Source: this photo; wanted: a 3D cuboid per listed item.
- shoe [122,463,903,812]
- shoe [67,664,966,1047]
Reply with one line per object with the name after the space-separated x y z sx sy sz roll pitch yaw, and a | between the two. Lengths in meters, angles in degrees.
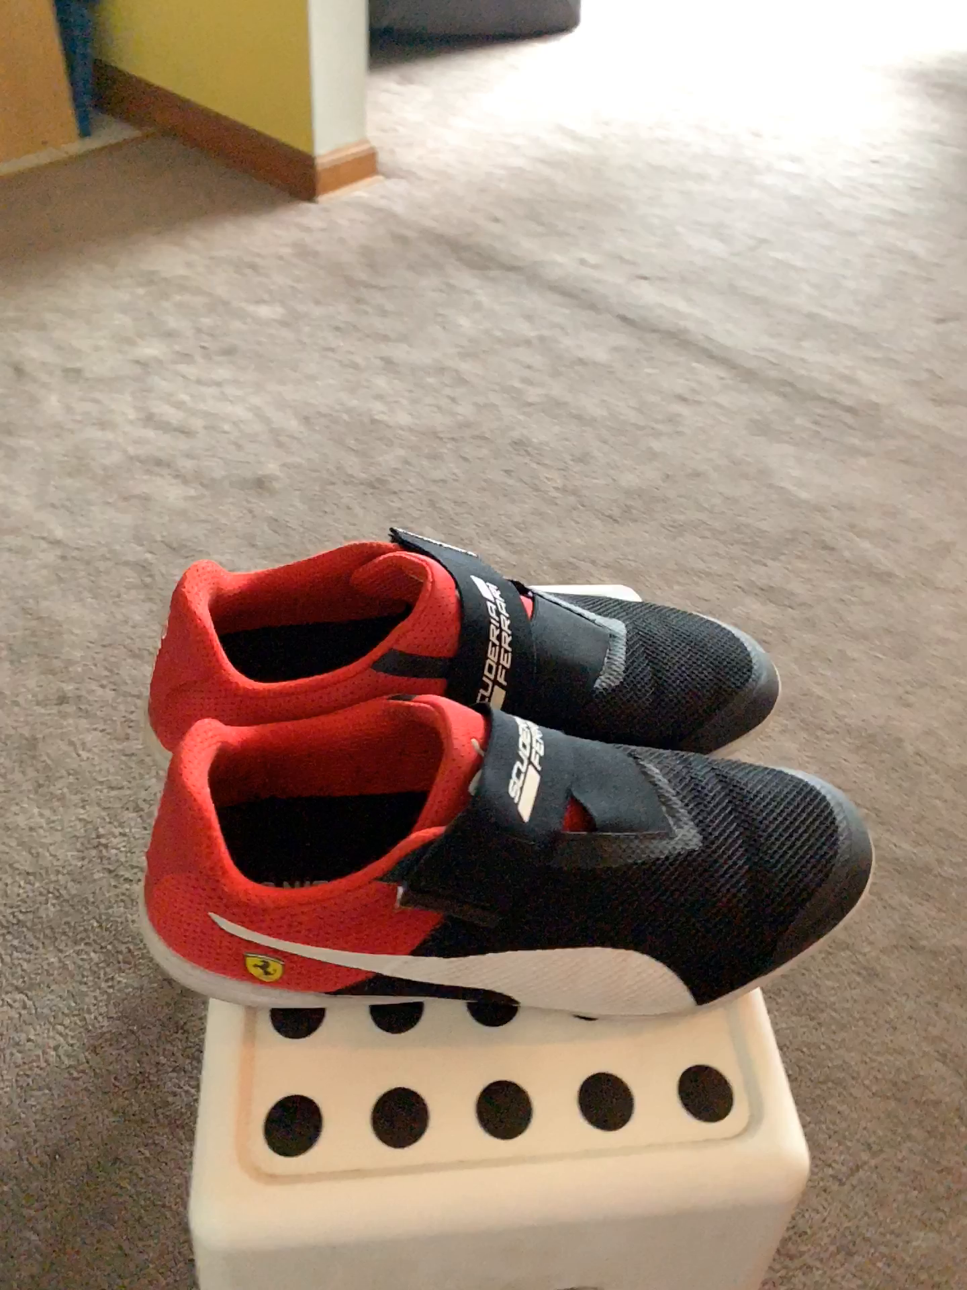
0.009 -0.009 0.445 0.300 0.089 0.111 -3 46 -9 | shoe
0.019 0.076 0.378 0.300 0.089 0.101 0 46 -7 | shoe
